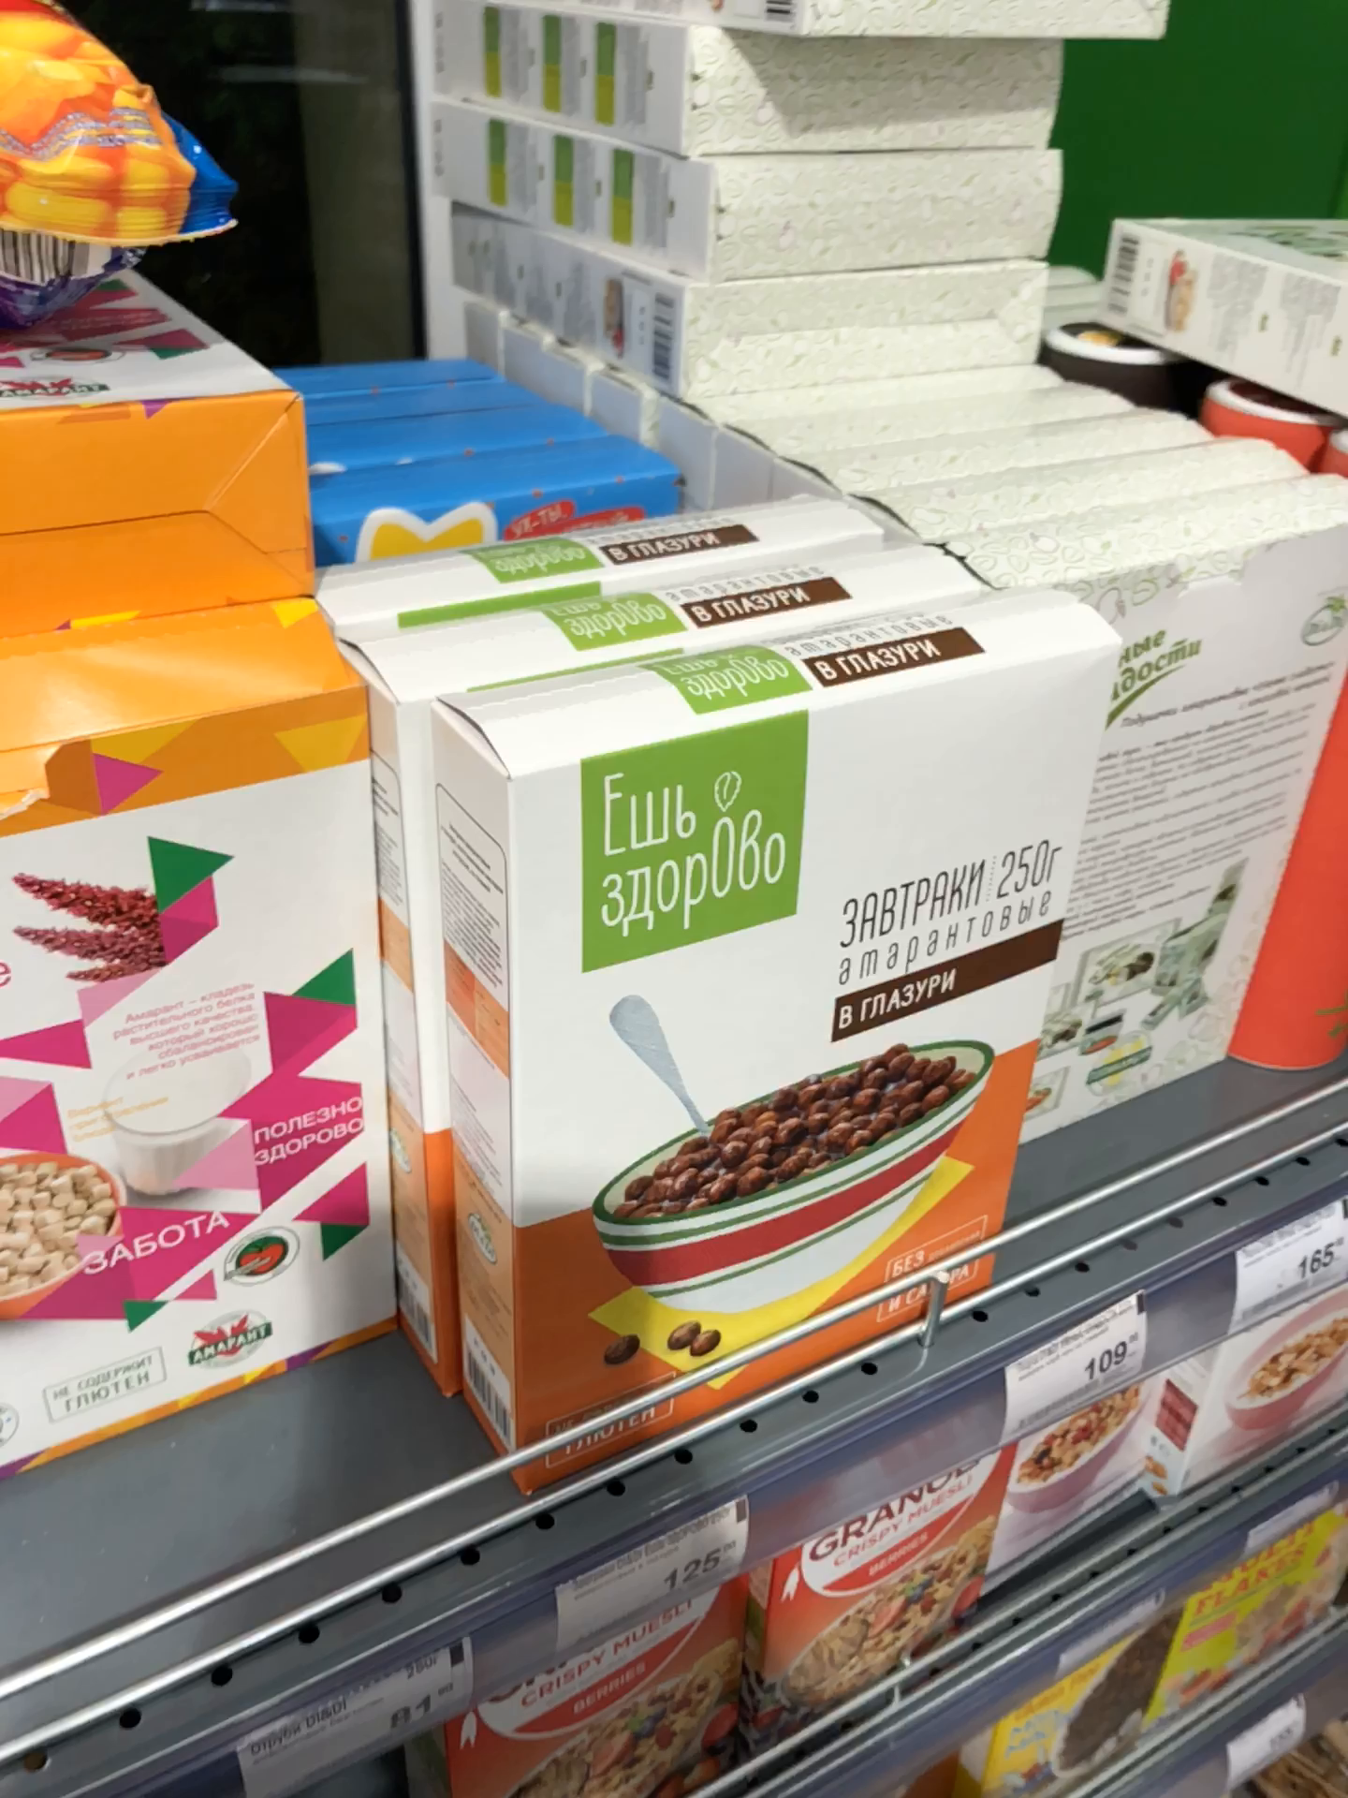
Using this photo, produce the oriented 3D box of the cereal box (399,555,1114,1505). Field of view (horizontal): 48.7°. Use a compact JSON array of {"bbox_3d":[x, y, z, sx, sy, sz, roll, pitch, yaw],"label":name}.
[{"bbox_3d":[0.022,0.042,0.454,0.190,0.258,0.050,-16,37,-27],"label":"cereal box"}]
